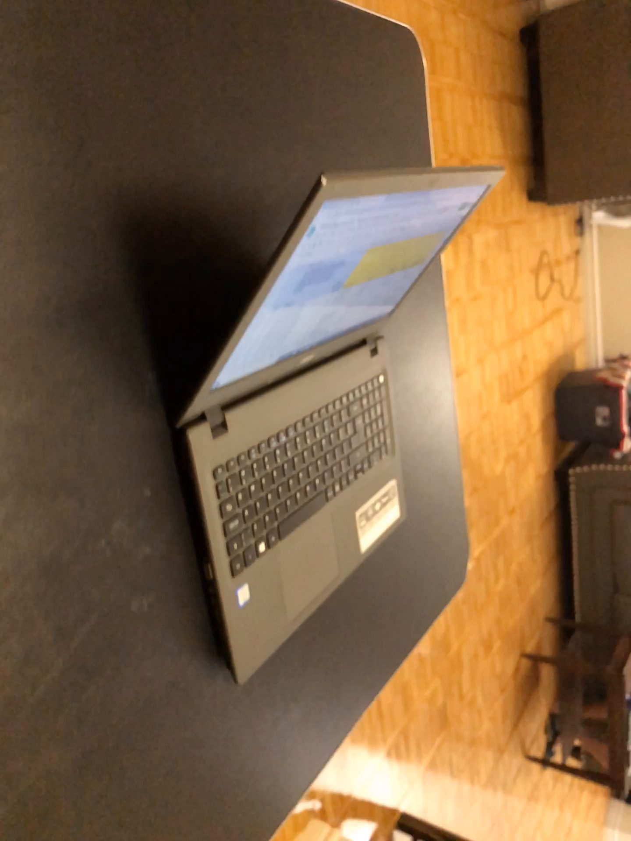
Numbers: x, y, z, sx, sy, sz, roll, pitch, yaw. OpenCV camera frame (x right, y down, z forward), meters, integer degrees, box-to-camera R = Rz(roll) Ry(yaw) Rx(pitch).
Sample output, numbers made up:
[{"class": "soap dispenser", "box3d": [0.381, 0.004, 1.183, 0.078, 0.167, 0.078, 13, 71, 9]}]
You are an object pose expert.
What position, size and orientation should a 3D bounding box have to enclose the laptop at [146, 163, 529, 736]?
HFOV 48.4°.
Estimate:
[{"class": "laptop", "box3d": [0.066, -0.012, 0.701, 0.376, 0.161, 0.429, -30, 116, -52]}]
